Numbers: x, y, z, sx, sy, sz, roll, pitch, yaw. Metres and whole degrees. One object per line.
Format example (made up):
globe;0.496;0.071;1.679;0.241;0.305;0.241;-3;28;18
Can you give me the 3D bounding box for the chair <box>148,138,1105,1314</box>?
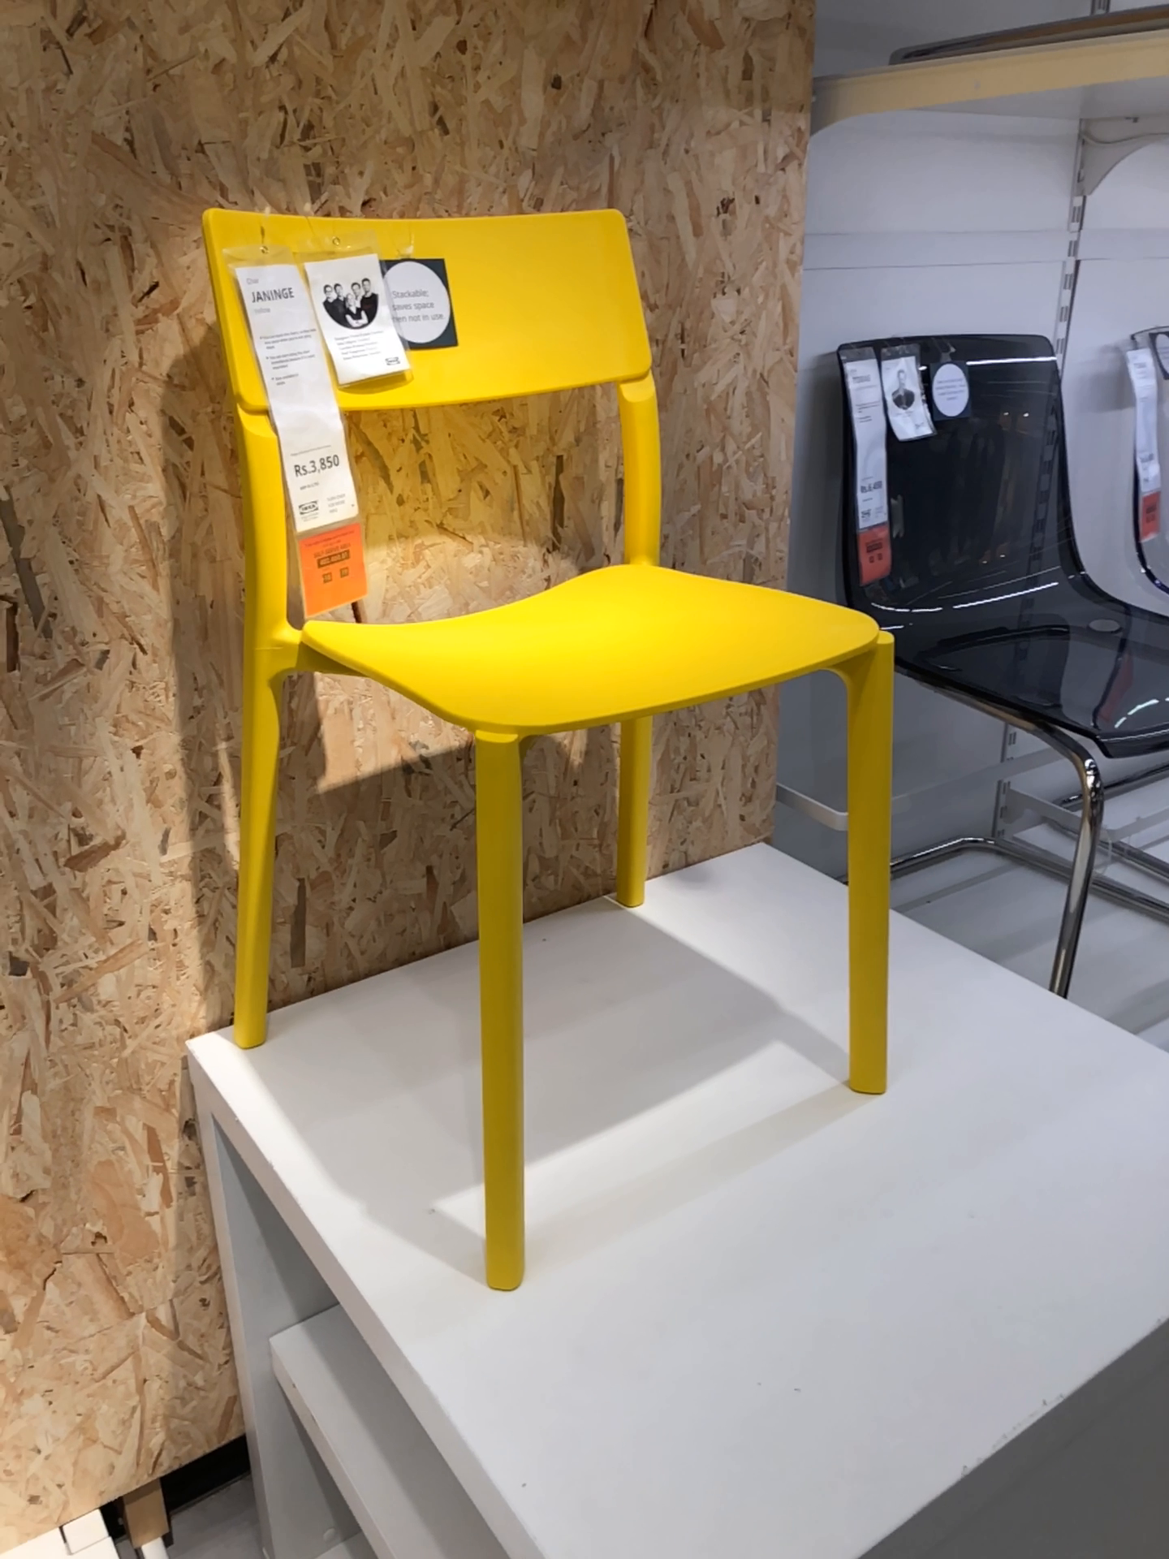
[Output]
chair;0.015;-0.096;0.993;0.461;0.676;0.462;-16;27;-33
